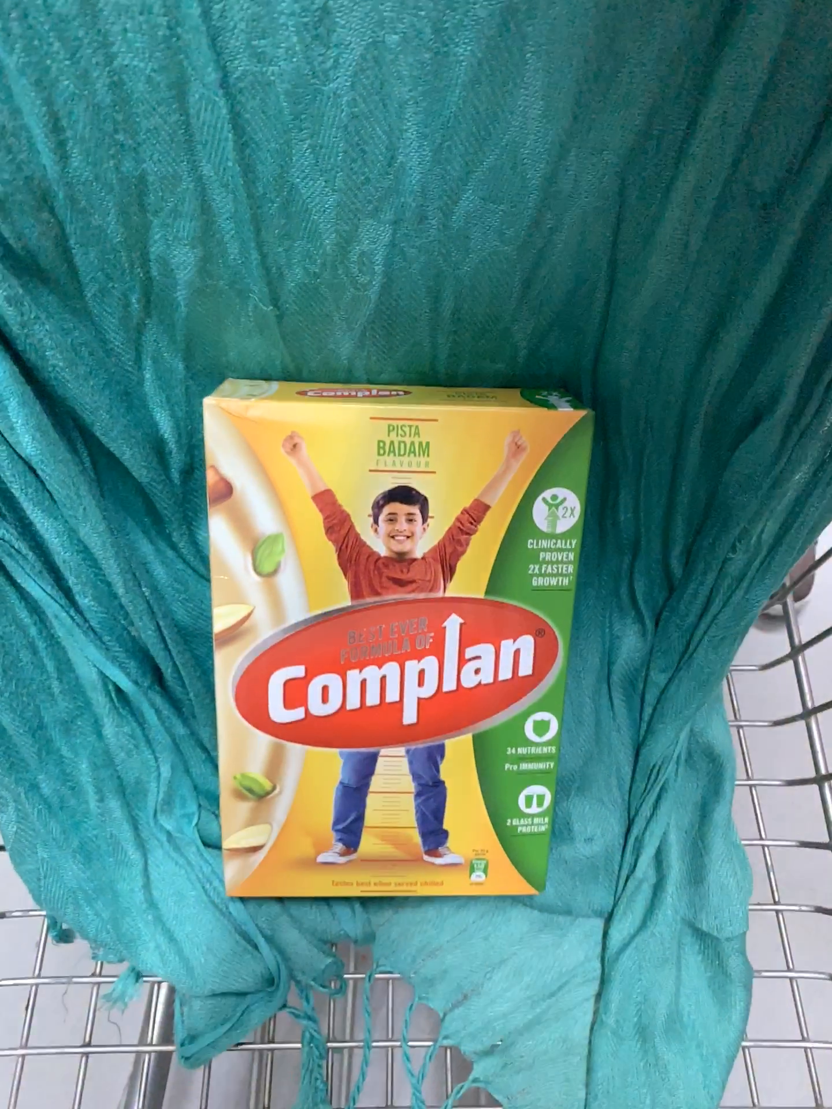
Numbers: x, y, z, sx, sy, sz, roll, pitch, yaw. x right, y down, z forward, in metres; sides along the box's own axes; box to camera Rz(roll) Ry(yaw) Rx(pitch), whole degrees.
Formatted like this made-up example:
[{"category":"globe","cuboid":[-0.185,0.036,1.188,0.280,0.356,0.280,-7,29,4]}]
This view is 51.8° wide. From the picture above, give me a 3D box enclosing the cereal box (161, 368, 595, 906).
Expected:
[{"category":"cereal box","cuboid":[-0.014,0.032,0.335,0.140,0.060,0.200,0,107,-3]}]
